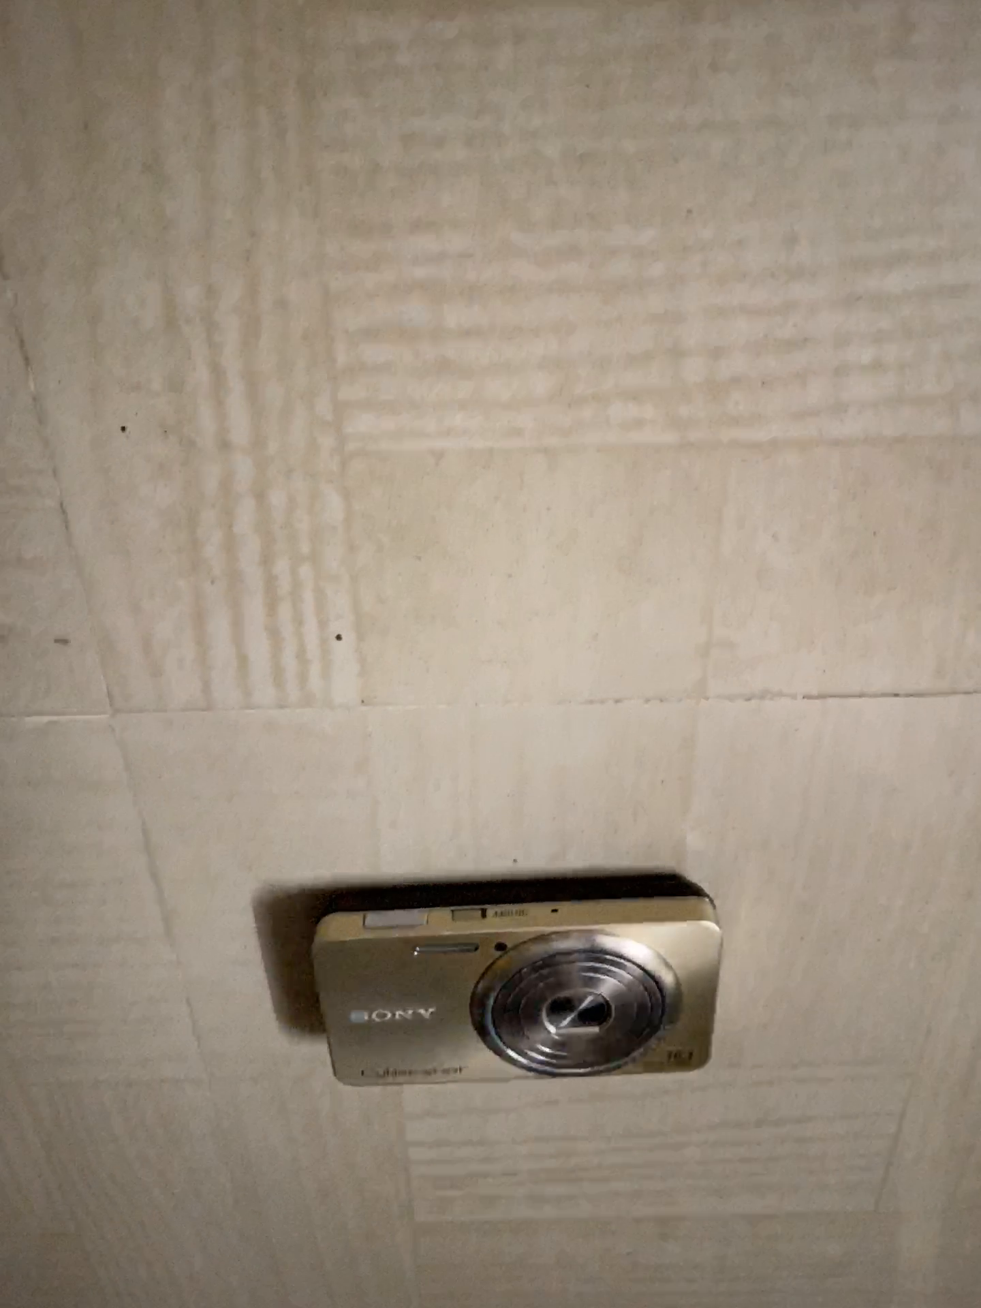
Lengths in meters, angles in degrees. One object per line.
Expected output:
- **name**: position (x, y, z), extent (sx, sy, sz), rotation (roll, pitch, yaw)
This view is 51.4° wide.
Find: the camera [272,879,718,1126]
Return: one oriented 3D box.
- **camera**: position (0.002, 0.084, 0.244), extent (0.097, 0.019, 0.057), rotation (-2, 120, 0)
